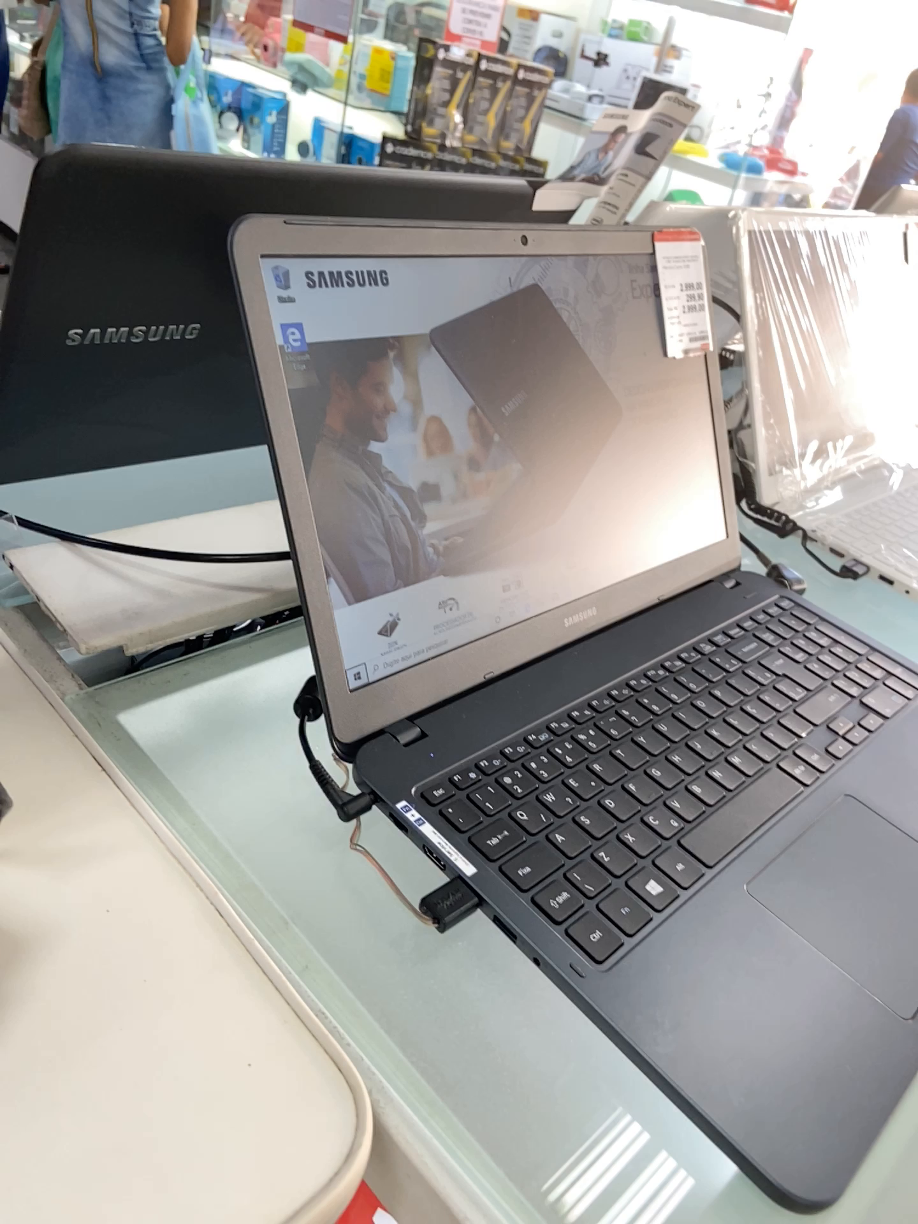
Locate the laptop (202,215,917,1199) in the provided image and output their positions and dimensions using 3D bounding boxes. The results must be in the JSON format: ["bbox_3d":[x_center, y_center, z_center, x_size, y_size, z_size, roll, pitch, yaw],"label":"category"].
[{"bbox_3d":[0.138,-0.036,0.477,0.372,0.200,0.369,-20,46,-42],"label":"laptop"}]
